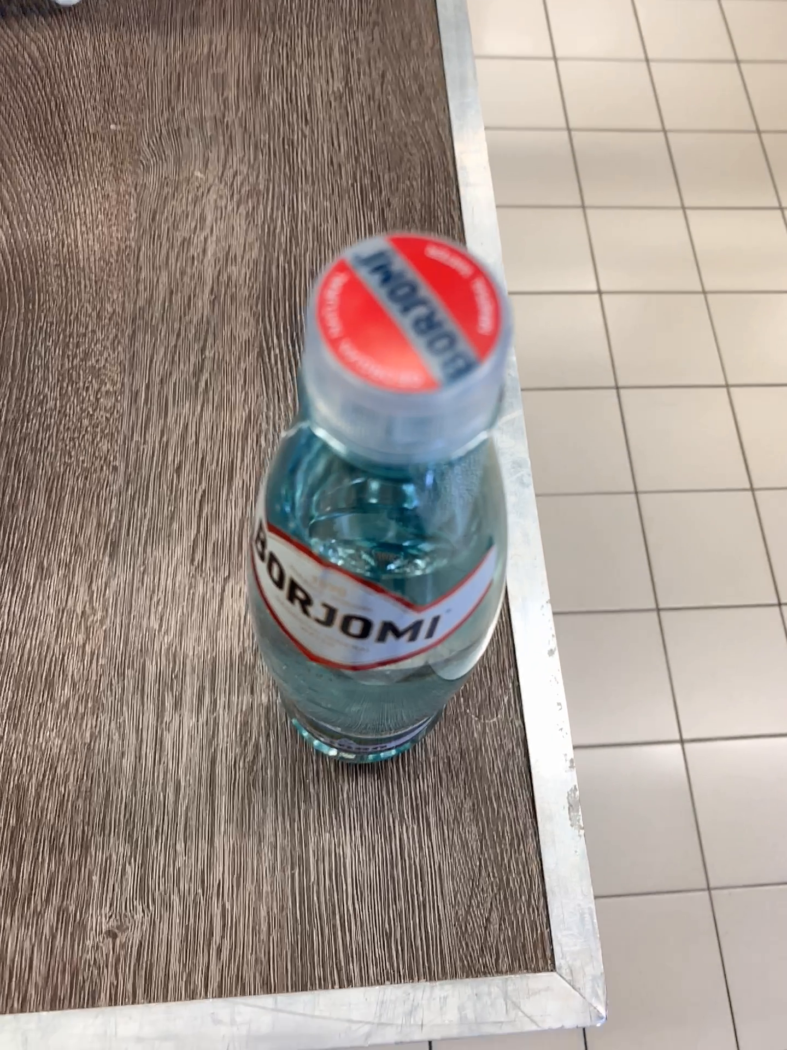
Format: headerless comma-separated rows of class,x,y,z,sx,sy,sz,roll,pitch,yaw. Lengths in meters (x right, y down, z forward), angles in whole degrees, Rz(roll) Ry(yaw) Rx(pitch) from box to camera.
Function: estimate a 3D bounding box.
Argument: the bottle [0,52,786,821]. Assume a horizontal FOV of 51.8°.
bottle,-0.006,0.020,0.218,0.080,0.240,0.070,35,70,10
